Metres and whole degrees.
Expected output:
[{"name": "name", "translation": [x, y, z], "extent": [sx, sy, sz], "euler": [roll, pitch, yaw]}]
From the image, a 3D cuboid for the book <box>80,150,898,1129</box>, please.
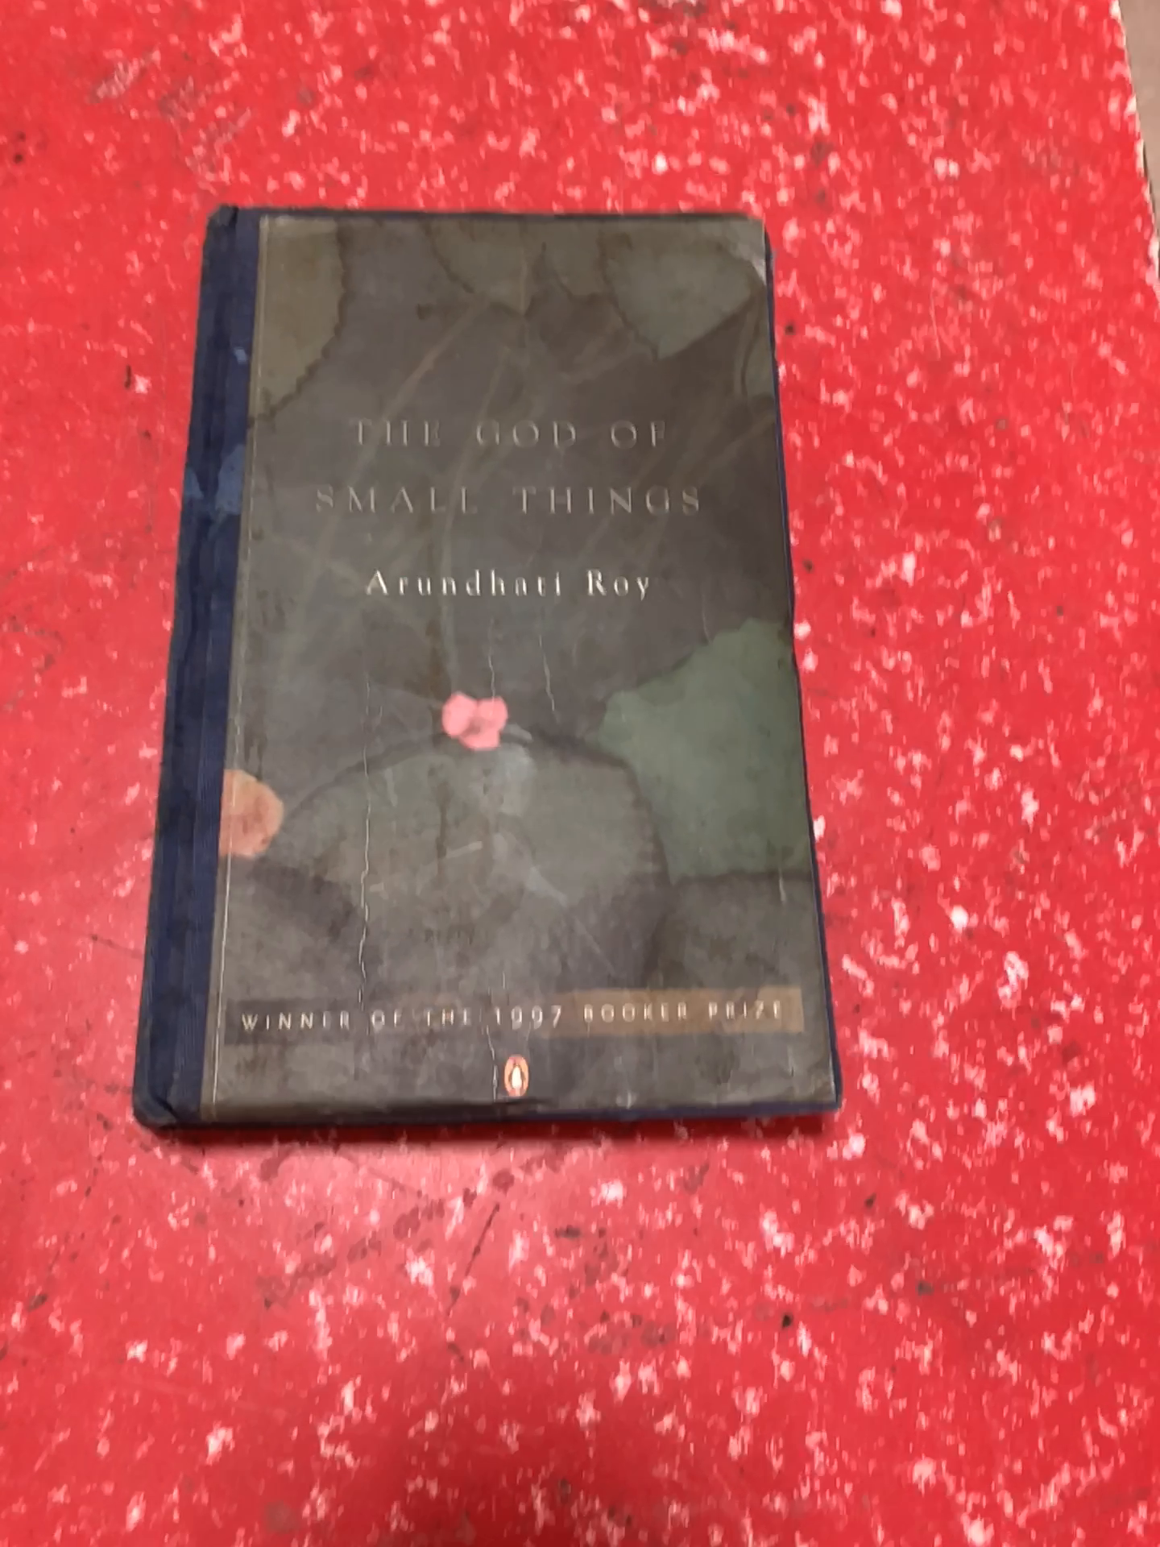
[{"name": "book", "translation": [-0.018, -0.036, 0.291], "extent": [0.150, 0.040, 0.220], "euler": [0, 72, -2]}]
